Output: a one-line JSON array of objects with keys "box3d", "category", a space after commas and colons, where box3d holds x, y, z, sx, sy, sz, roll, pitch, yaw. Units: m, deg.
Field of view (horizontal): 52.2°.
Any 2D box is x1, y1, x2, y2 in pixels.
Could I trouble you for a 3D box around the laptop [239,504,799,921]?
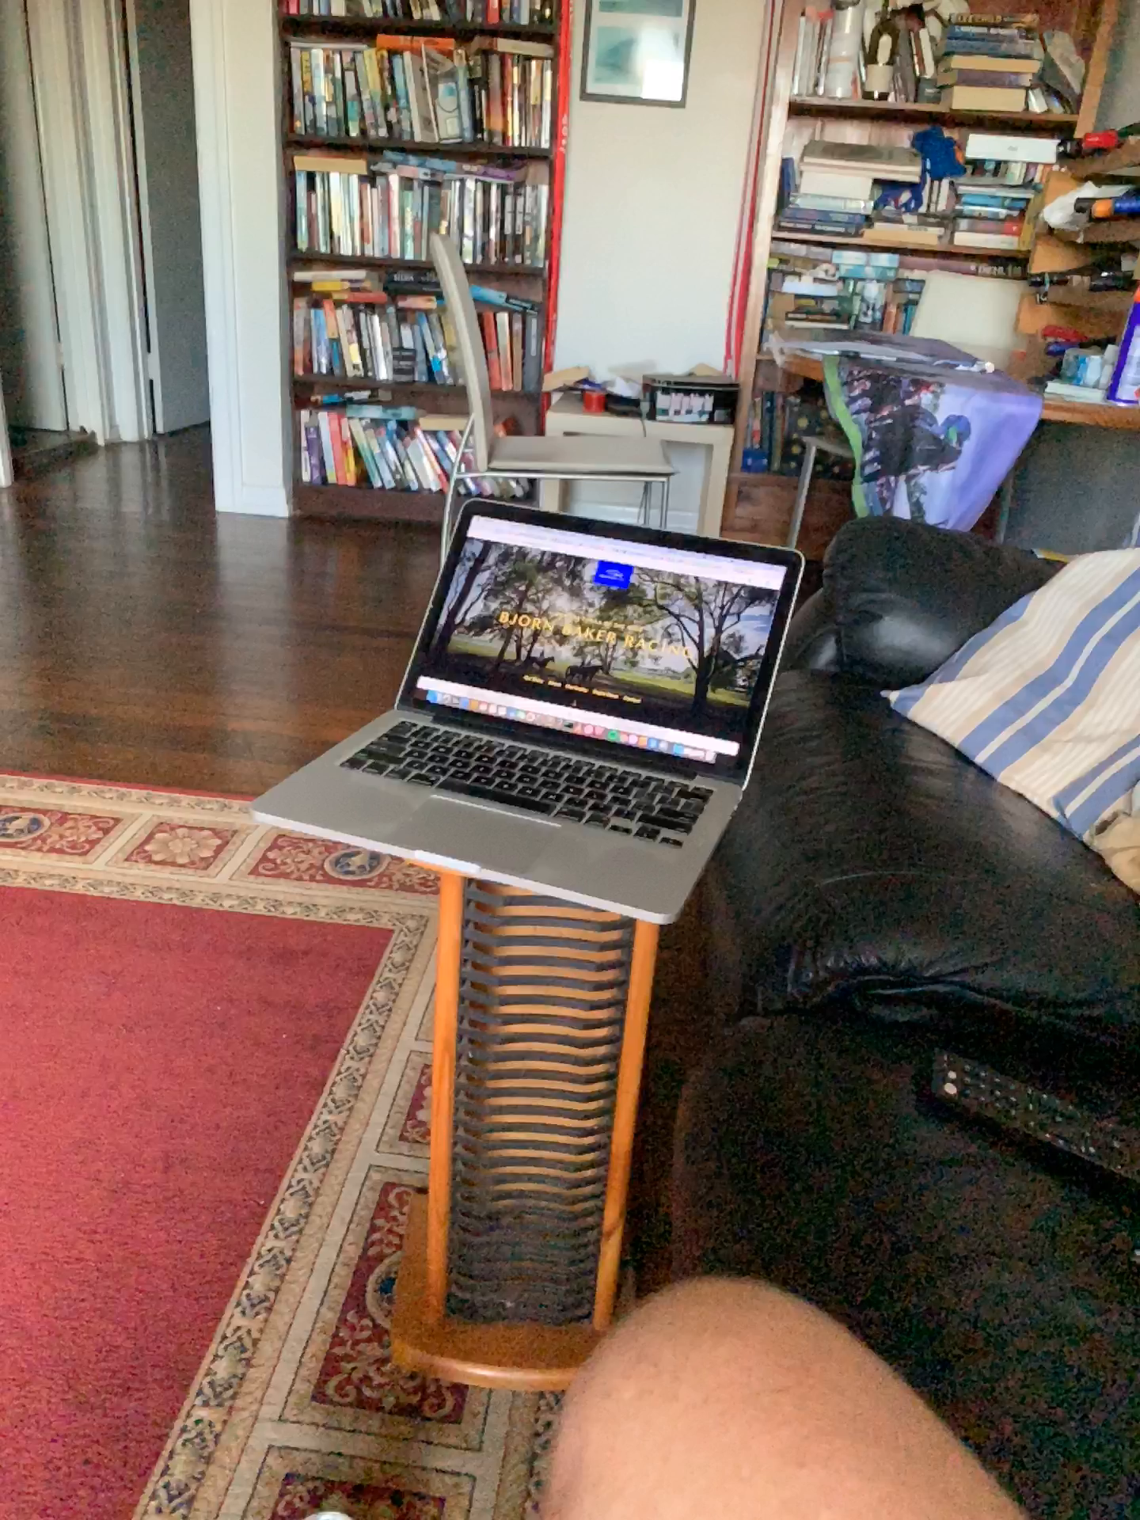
[{"box3d": [-0.018, -0.066, 0.892, 0.312, 0.161, 0.341, 13, 24, 17], "category": "laptop"}]
